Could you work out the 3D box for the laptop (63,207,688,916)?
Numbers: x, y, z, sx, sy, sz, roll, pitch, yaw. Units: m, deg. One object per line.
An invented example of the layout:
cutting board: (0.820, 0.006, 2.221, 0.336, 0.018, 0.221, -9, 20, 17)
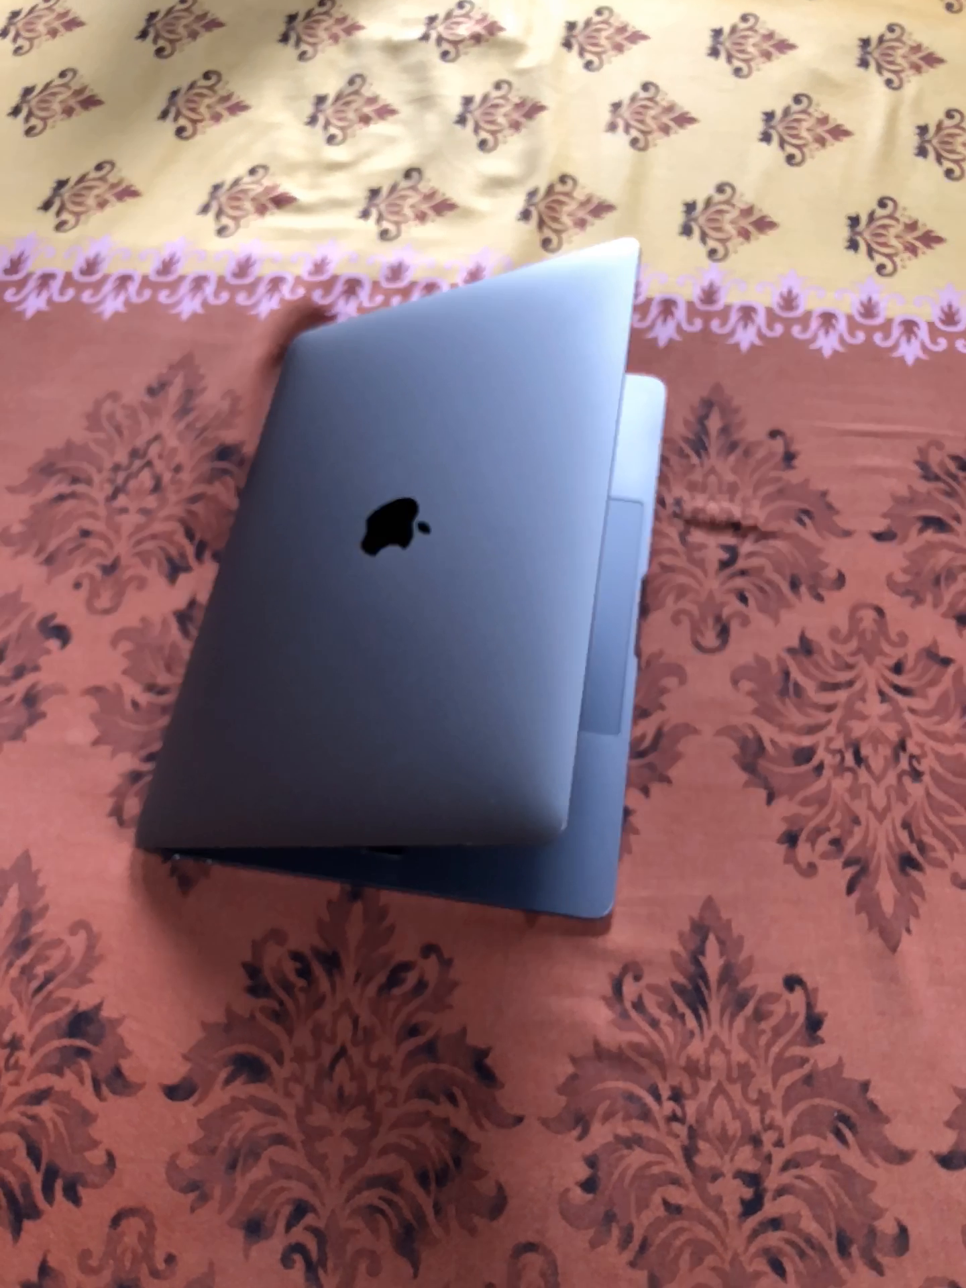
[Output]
laptop: (-0.028, -0.048, 0.480, 0.204, 0.093, 0.286, 7, 64, 7)
